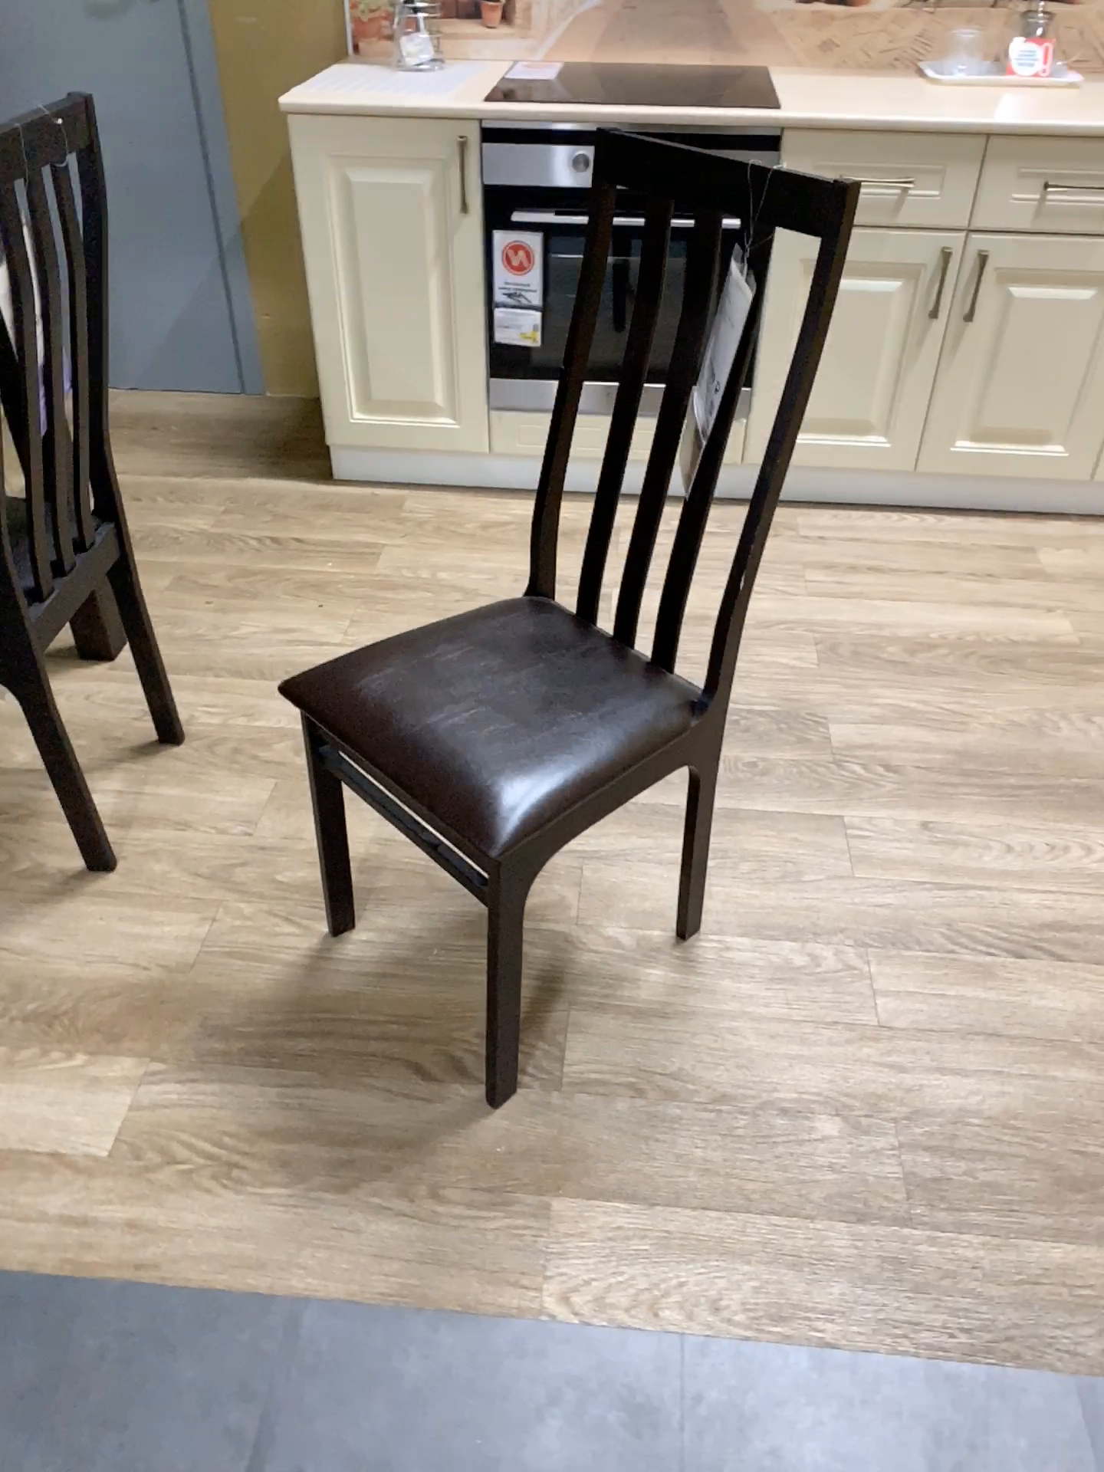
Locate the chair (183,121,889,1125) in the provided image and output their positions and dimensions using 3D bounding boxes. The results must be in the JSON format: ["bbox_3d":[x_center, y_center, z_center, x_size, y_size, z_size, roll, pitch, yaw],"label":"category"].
[{"bbox_3d":[-0.017,-0.114,1.330,0.492,0.985,0.421,-28,46,-32],"label":"chair"}]
